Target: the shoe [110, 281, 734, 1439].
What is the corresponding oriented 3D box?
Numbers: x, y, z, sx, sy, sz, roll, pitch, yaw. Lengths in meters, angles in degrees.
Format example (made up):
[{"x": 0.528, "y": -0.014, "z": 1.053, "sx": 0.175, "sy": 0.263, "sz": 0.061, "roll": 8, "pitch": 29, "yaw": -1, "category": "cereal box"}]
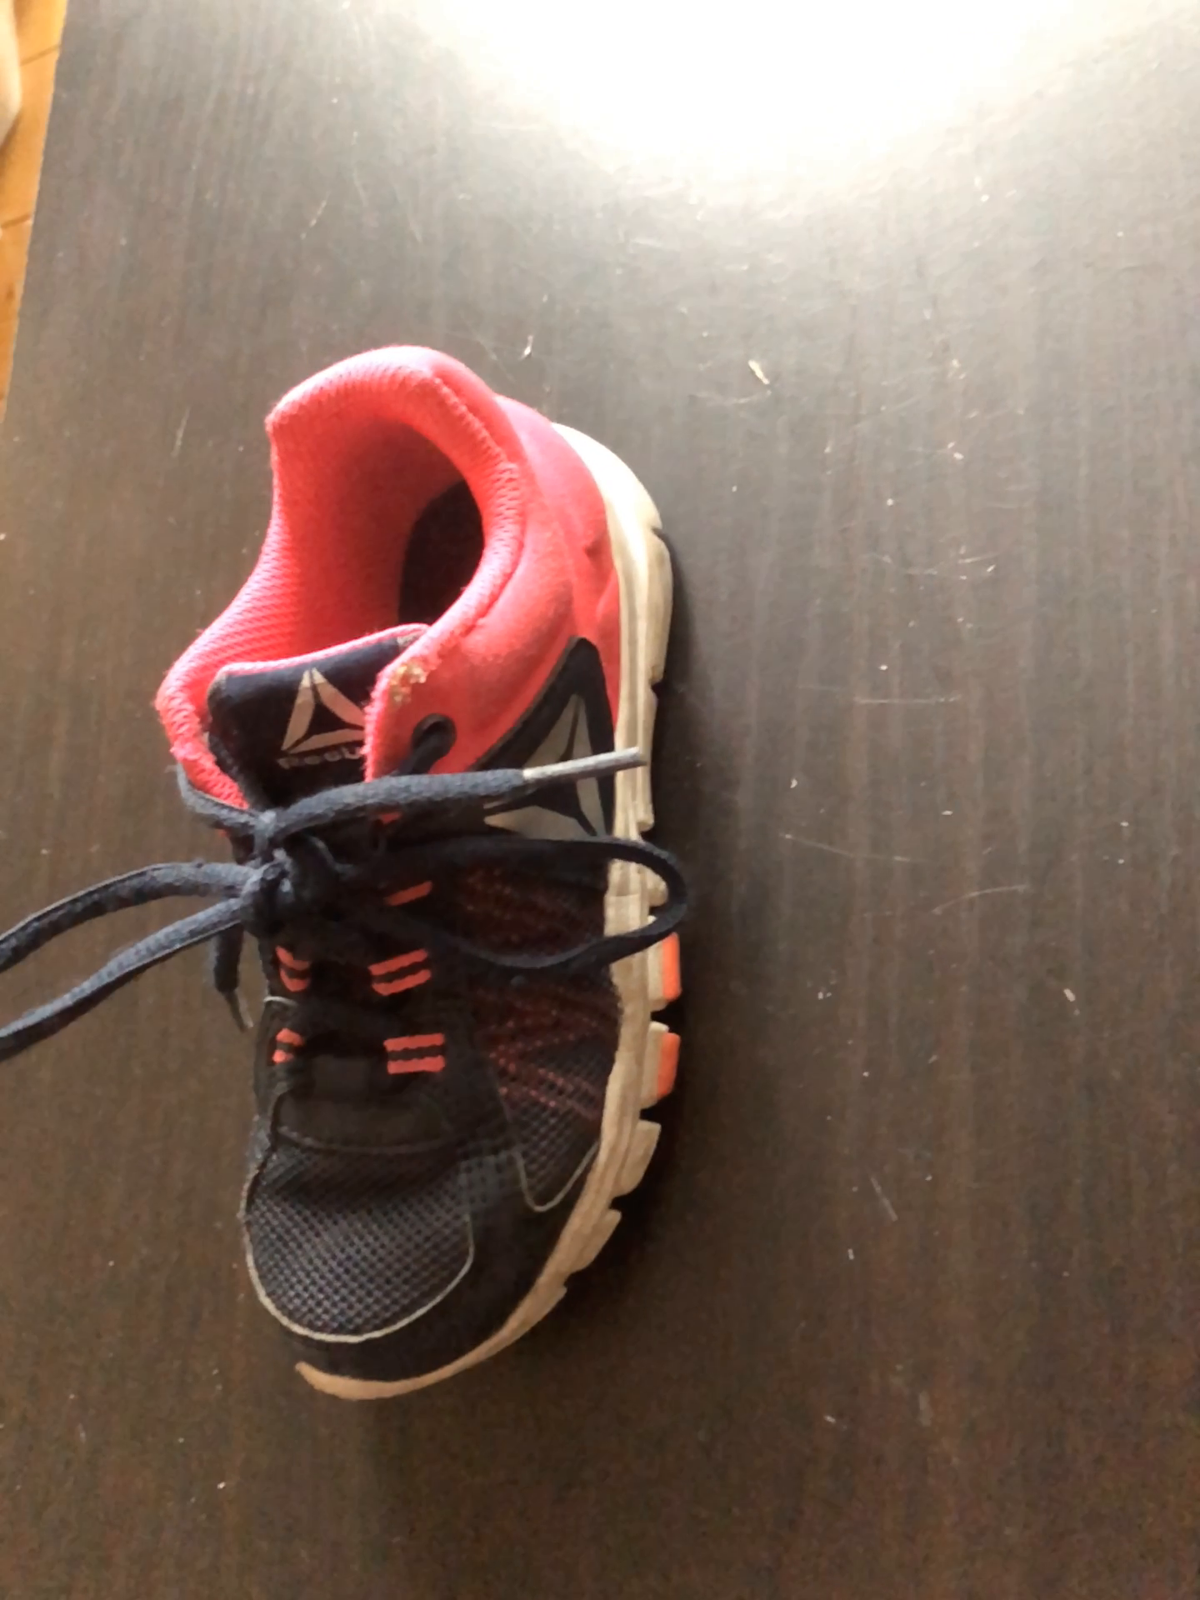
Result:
[{"x": -0.028, "y": 0.010, "z": 0.267, "sx": 0.080, "sy": 0.070, "sz": 0.193, "roll": -2, "pitch": 76, "yaw": 28, "category": "shoe"}]
